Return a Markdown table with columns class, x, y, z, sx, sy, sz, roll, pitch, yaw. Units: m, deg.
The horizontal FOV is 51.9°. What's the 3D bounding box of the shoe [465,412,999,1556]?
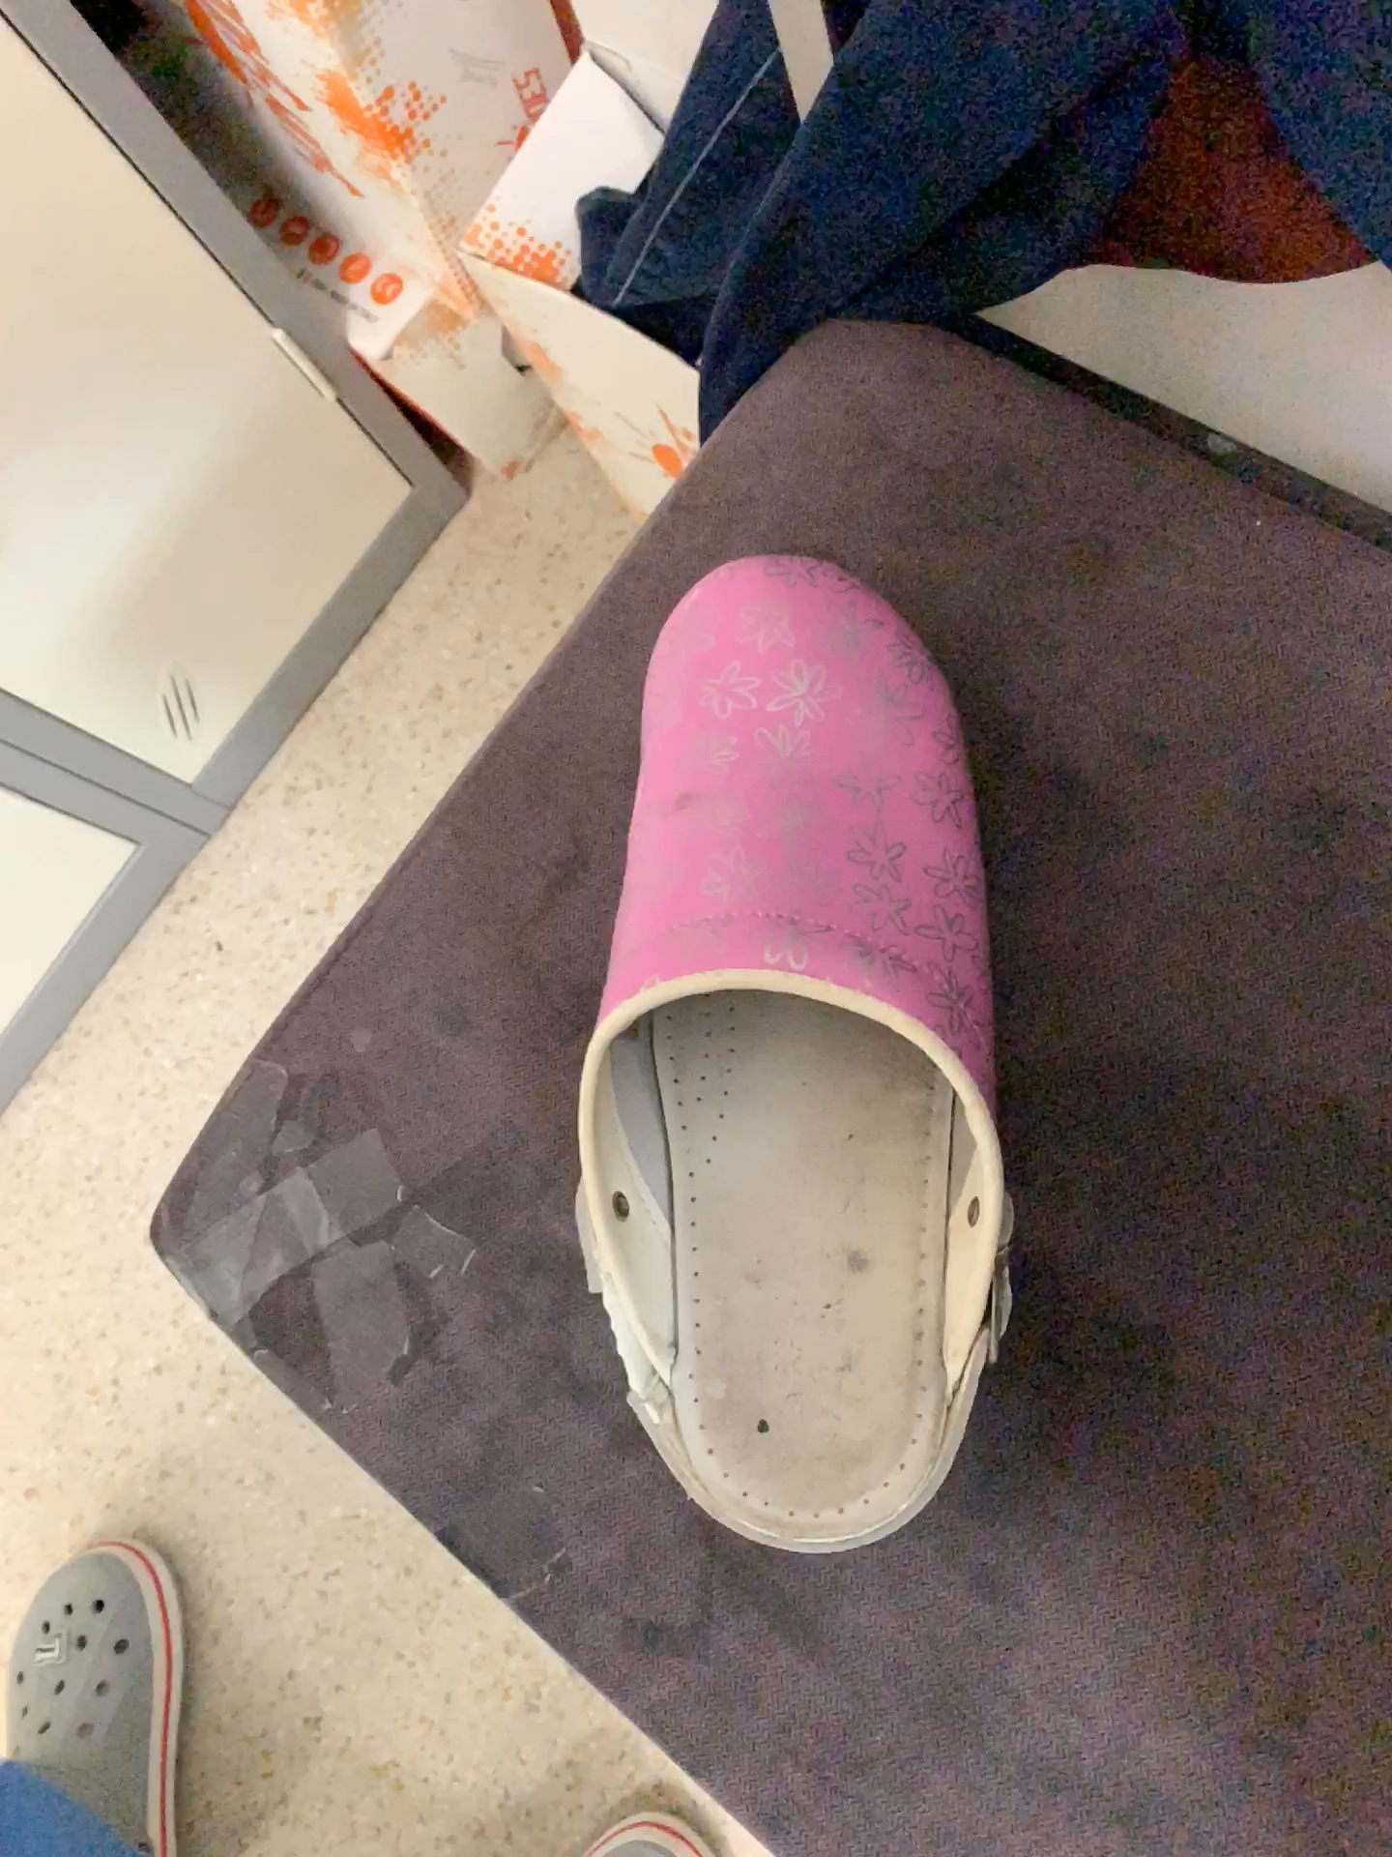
| class | x | y | z | sx | sy | sz | roll | pitch | yaw |
| --- | --- | --- | --- | --- | --- | --- | --- | --- | --- |
| shoe | 0.013 | 0.011 | 0.334 | 0.100 | 0.080 | 0.230 | -3 | 77 | 14 |
